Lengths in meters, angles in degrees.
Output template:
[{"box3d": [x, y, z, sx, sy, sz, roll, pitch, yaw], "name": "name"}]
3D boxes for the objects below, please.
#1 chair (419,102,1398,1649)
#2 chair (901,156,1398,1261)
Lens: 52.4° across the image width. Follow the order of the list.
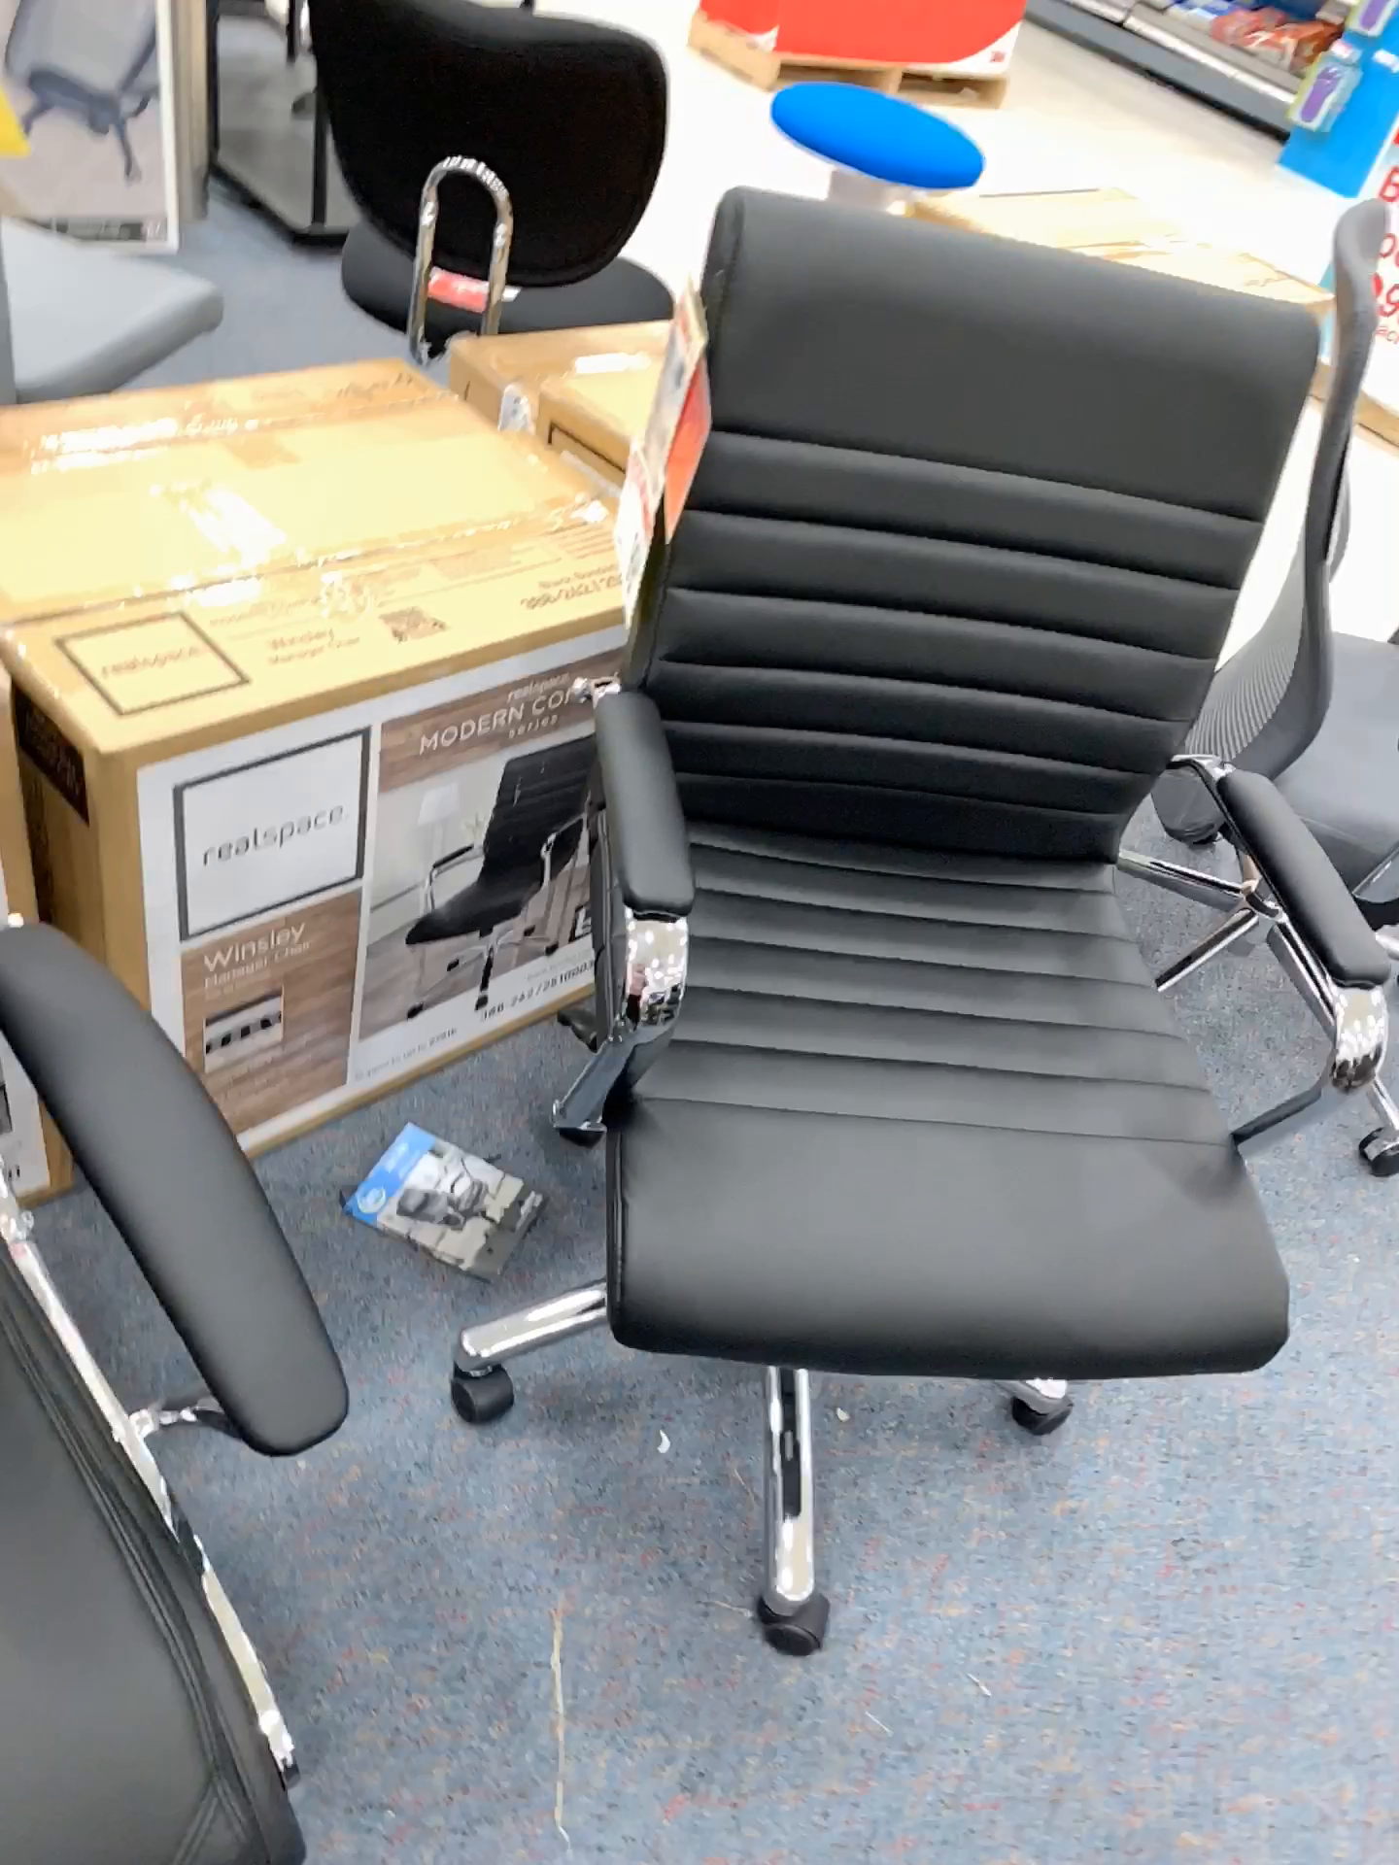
[{"box3d": [0.173, 0.039, 1.111, 0.654, 0.953, 0.652, 6, 43, -11], "name": "chair"}, {"box3d": [0.810, -0.280, 1.709, 0.719, 0.873, 0.738, 24, 43, 9], "name": "chair"}]
